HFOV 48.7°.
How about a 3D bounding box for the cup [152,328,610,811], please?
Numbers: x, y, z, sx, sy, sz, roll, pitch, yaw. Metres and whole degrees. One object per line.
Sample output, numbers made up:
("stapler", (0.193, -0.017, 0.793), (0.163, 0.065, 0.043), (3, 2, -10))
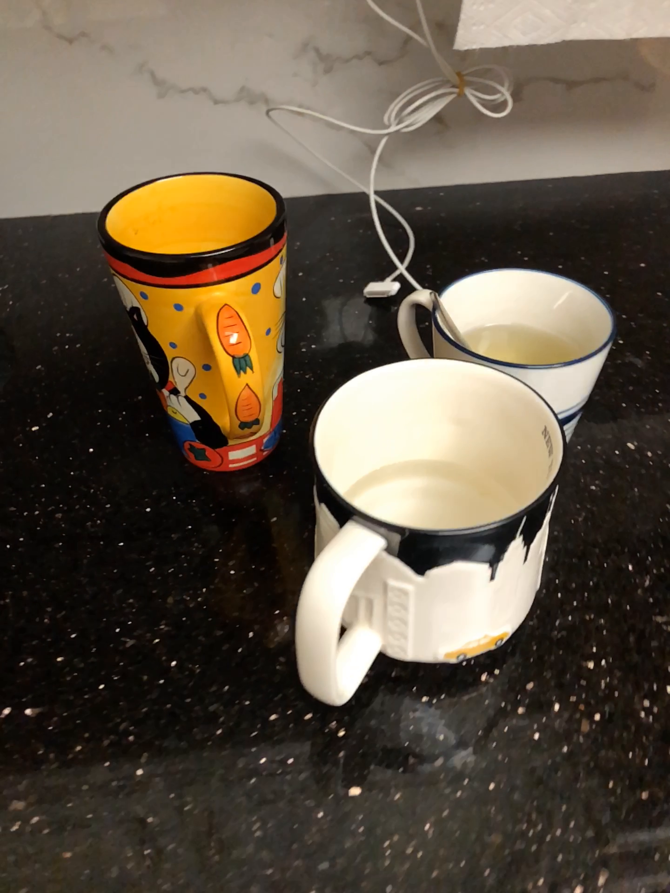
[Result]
("cup", (0.024, 0.041, 0.316), (0.110, 0.089, 0.151), (27, 51, 27))

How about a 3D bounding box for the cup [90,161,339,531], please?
("cup", (-0.060, -0.054, 0.381), (0.090, 0.129, 0.121), (-13, 45, -11))

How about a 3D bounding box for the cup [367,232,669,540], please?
("cup", (0.086, -0.036, 0.386), (0.080, 0.089, 0.120), (-27, 49, -24))
